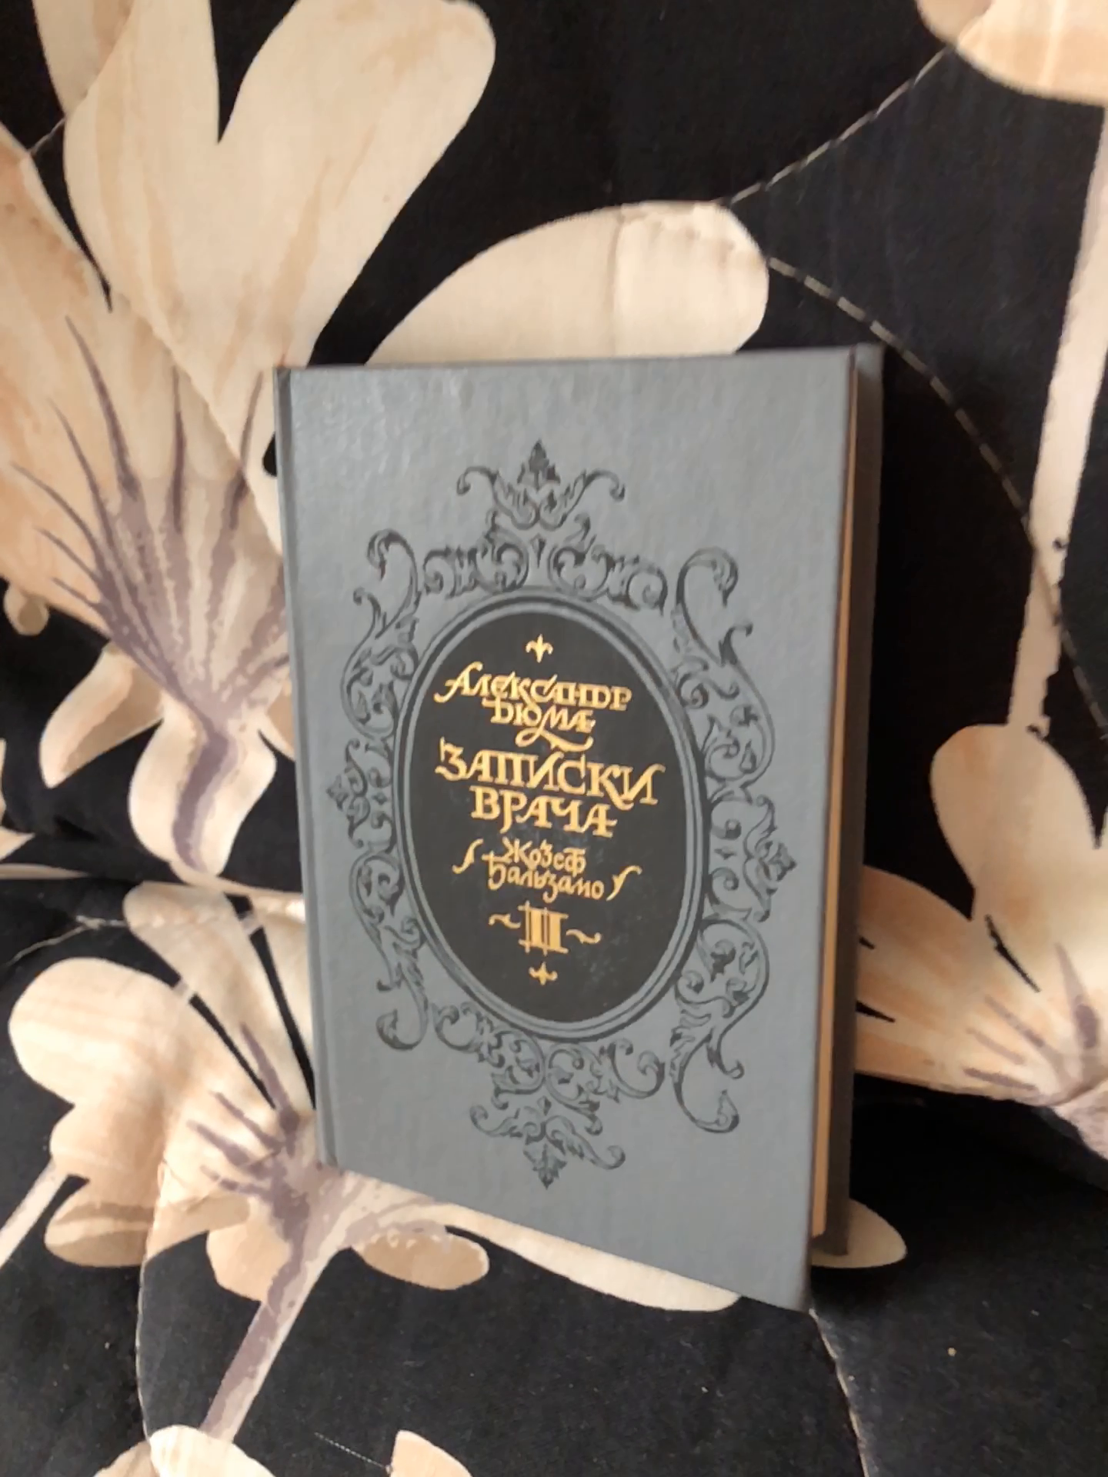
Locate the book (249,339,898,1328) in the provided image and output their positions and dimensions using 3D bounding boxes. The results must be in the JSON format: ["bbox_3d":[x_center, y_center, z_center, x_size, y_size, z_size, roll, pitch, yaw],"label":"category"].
[{"bbox_3d":[-0.001,0.018,0.292,0.140,0.030,0.210,7,106,25],"label":"book"}]
